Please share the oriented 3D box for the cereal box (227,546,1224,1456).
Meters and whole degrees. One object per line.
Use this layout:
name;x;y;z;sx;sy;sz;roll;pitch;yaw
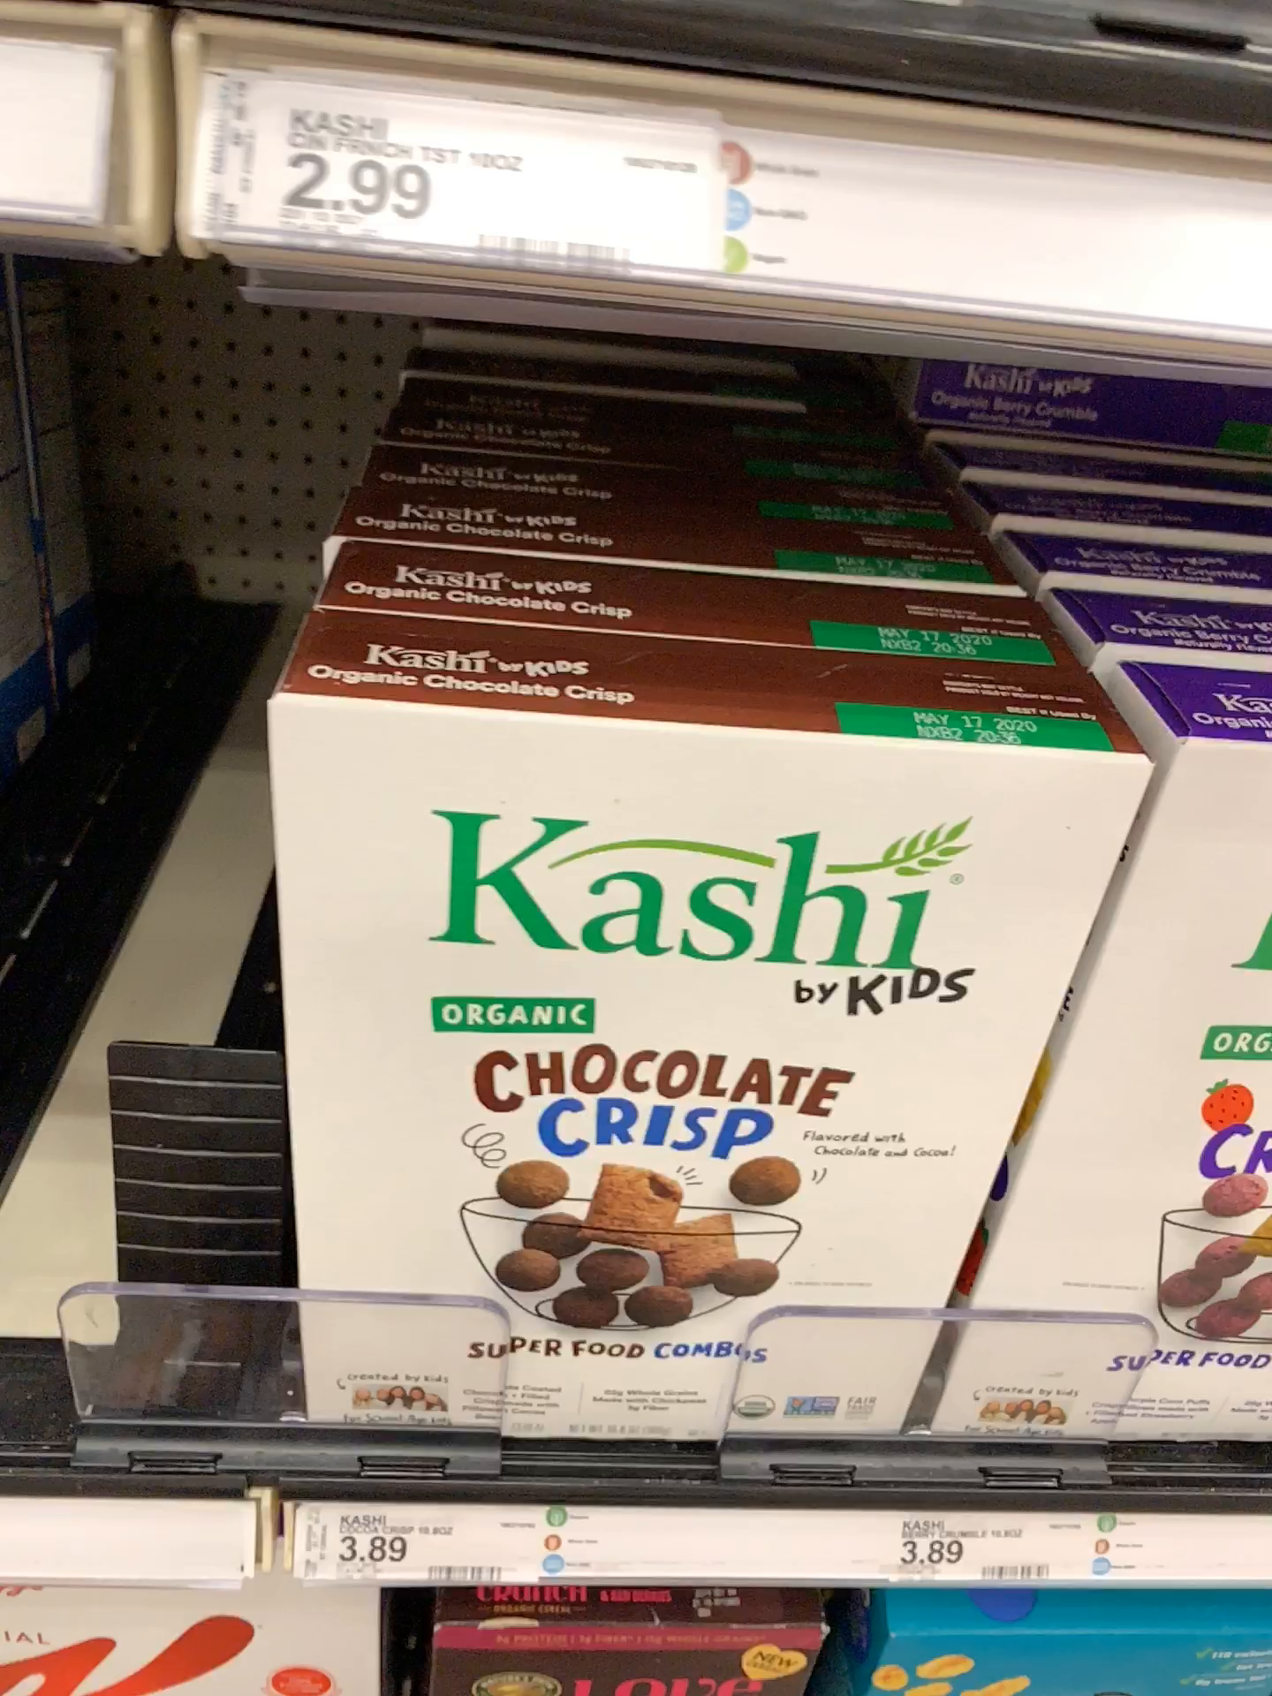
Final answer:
cereal box;0.007;0.061;0.358;0.200;0.258;0.060;3;34;-5
